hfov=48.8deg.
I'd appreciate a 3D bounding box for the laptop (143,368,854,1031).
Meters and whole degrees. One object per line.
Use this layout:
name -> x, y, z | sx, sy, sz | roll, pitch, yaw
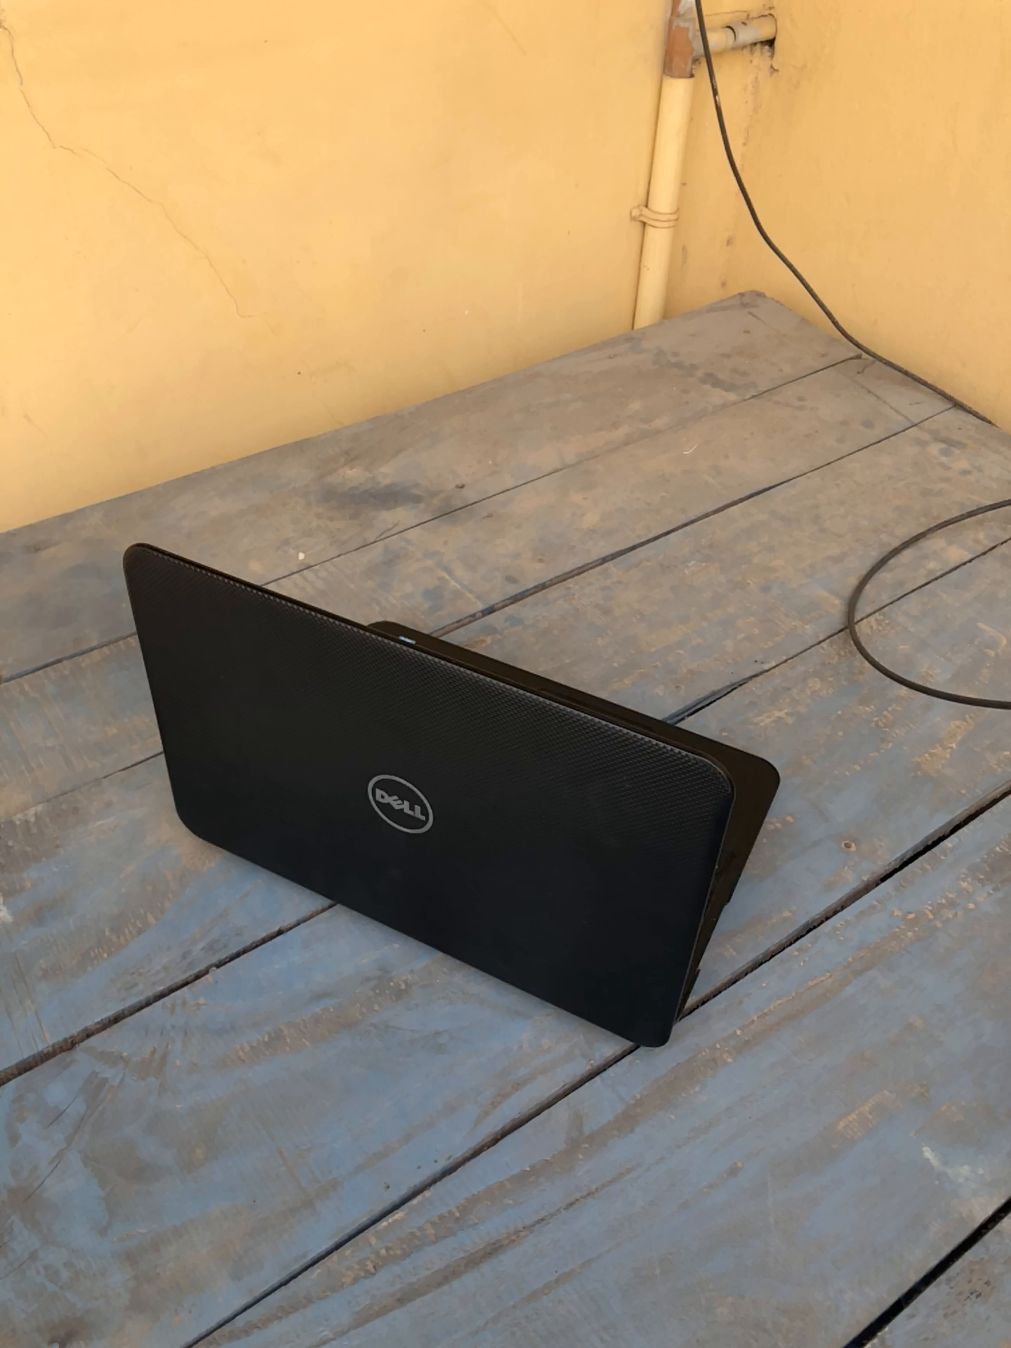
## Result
laptop -> -0.001, 0.002, 0.723 | 0.341, 0.234, 0.226 | 21, 47, 20
